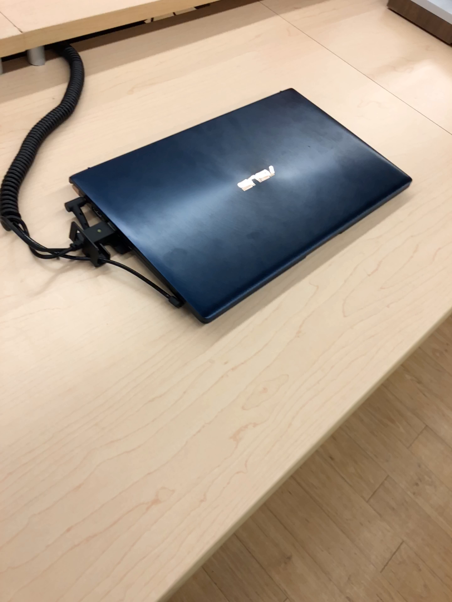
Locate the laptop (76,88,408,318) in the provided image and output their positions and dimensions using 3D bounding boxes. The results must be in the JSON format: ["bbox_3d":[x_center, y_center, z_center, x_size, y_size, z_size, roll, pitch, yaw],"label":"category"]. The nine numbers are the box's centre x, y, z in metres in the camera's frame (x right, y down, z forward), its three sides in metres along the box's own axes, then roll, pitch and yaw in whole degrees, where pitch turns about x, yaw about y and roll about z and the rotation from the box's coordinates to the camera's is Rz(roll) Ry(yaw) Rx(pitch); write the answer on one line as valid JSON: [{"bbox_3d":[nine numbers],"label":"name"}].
[{"bbox_3d":[0.031,-0.120,0.491,0.296,0.001,0.177,-34,69,-30],"label":"laptop"}]
